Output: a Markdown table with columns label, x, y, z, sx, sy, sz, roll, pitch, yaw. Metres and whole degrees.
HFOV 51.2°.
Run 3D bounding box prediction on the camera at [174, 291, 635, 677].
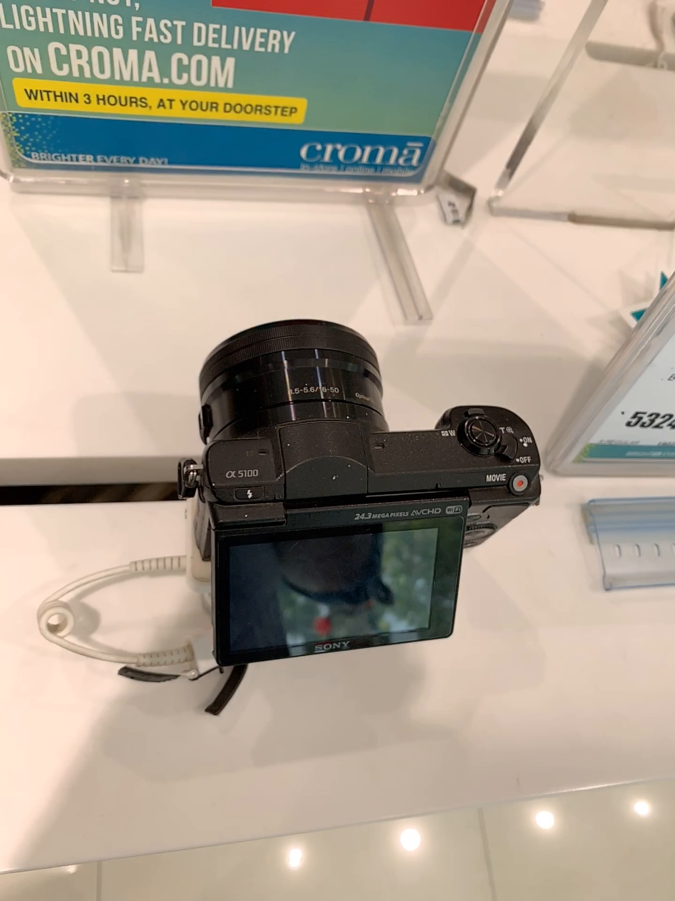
| label | x | y | z | sx | sy | sz | roll | pitch | yaw |
| --- | --- | --- | --- | --- | --- | --- | --- | --- | --- |
| camera | 0.008 | 0.013 | 0.220 | 0.110 | 0.082 | 0.088 | -2 | 65 | -15 |
